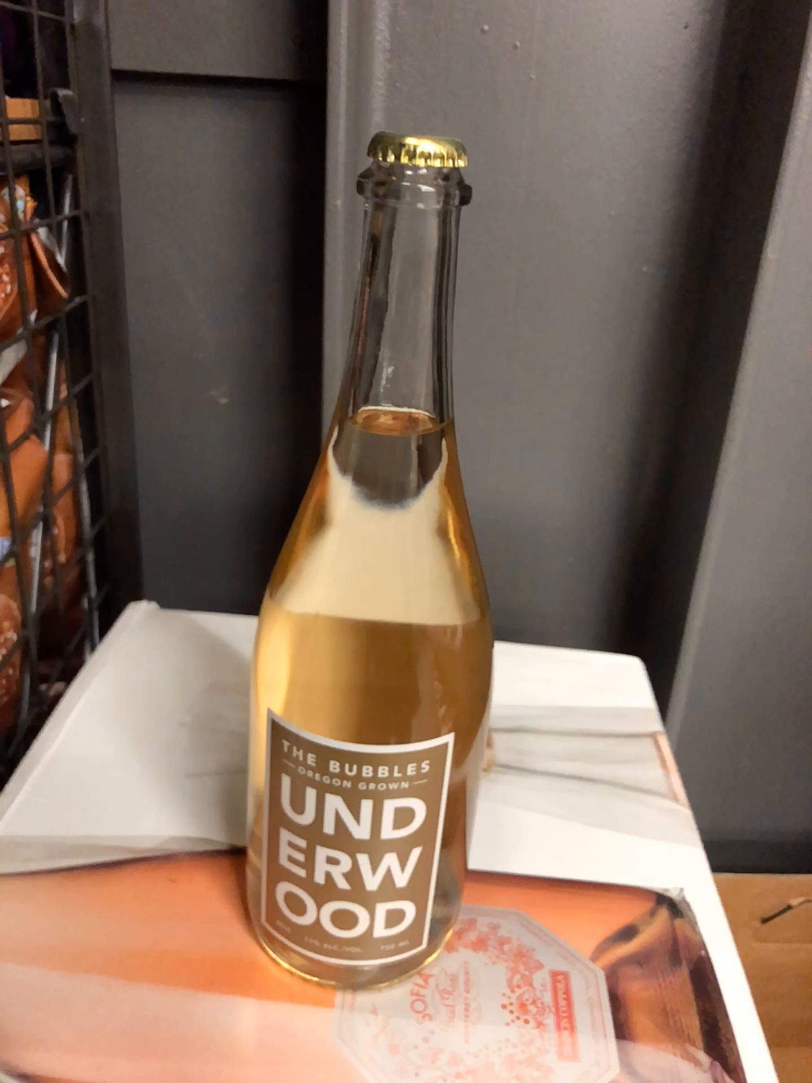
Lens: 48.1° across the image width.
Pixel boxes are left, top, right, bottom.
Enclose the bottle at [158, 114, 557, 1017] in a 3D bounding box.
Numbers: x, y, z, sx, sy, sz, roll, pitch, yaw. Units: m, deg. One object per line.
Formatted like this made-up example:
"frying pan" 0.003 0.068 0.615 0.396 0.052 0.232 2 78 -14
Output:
"bottle" -0.015 0.017 0.328 0.099 0.304 0.096 3 24 -1
